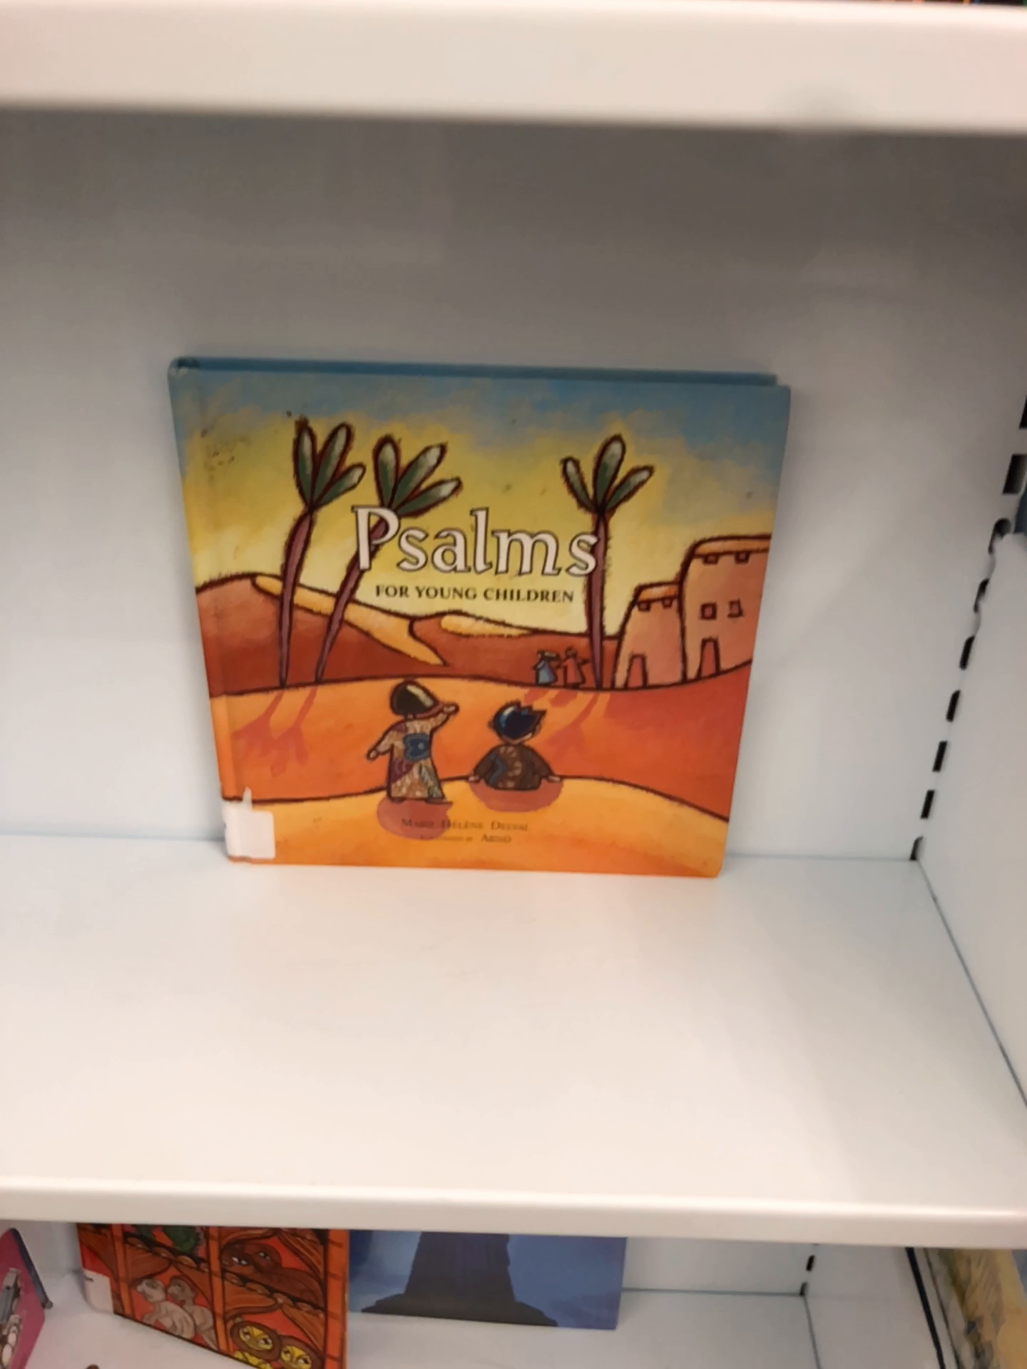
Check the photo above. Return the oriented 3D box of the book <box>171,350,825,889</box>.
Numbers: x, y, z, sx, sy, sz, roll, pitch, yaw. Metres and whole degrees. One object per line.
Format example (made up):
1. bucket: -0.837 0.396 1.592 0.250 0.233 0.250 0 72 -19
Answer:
1. book: -0.008 -0.015 0.430 0.212 0.205 0.021 2 29 0
